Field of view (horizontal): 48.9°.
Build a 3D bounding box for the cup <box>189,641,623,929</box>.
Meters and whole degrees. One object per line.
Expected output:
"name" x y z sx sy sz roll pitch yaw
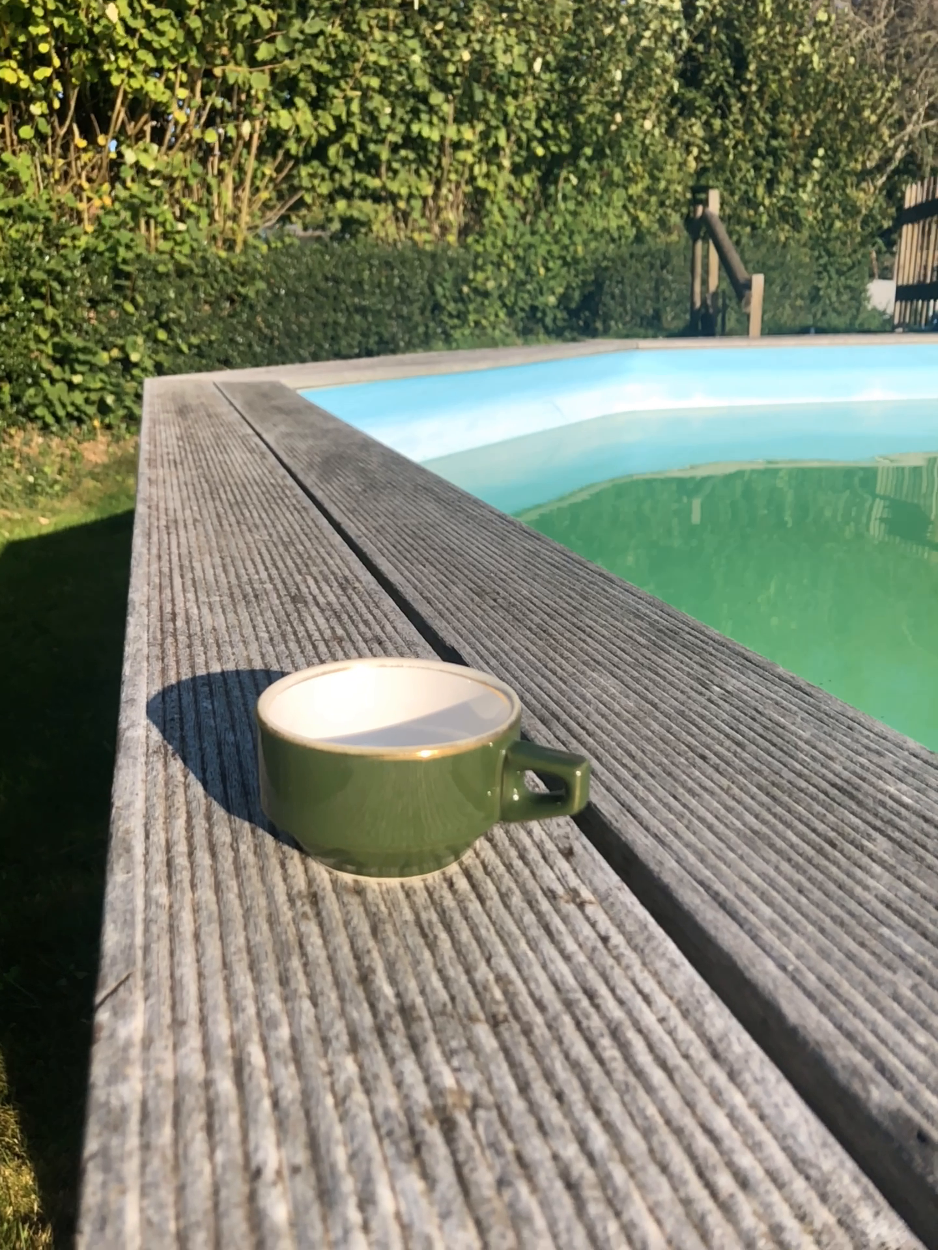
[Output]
"cup" -0.014 0.039 0.297 0.095 0.038 0.083 7 16 23
